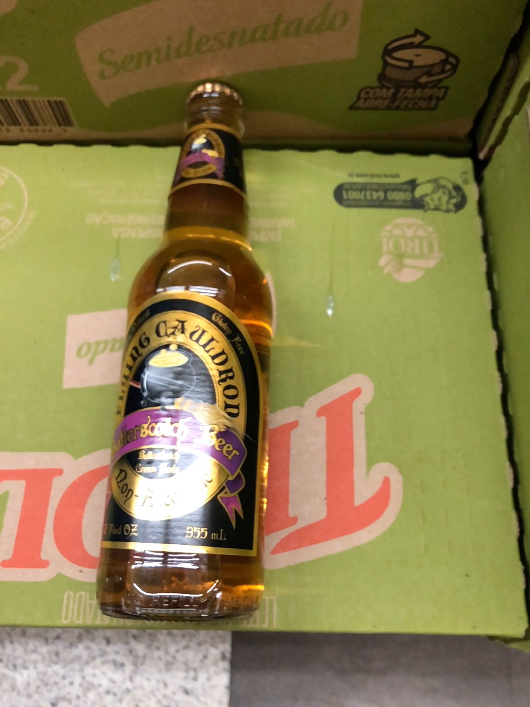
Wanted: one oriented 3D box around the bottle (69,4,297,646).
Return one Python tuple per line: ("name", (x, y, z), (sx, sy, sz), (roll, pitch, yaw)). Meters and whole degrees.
("bottle", (-0.024, -0.025, 0.252), (0.070, 0.050, 0.261), (2, 71, -1))
